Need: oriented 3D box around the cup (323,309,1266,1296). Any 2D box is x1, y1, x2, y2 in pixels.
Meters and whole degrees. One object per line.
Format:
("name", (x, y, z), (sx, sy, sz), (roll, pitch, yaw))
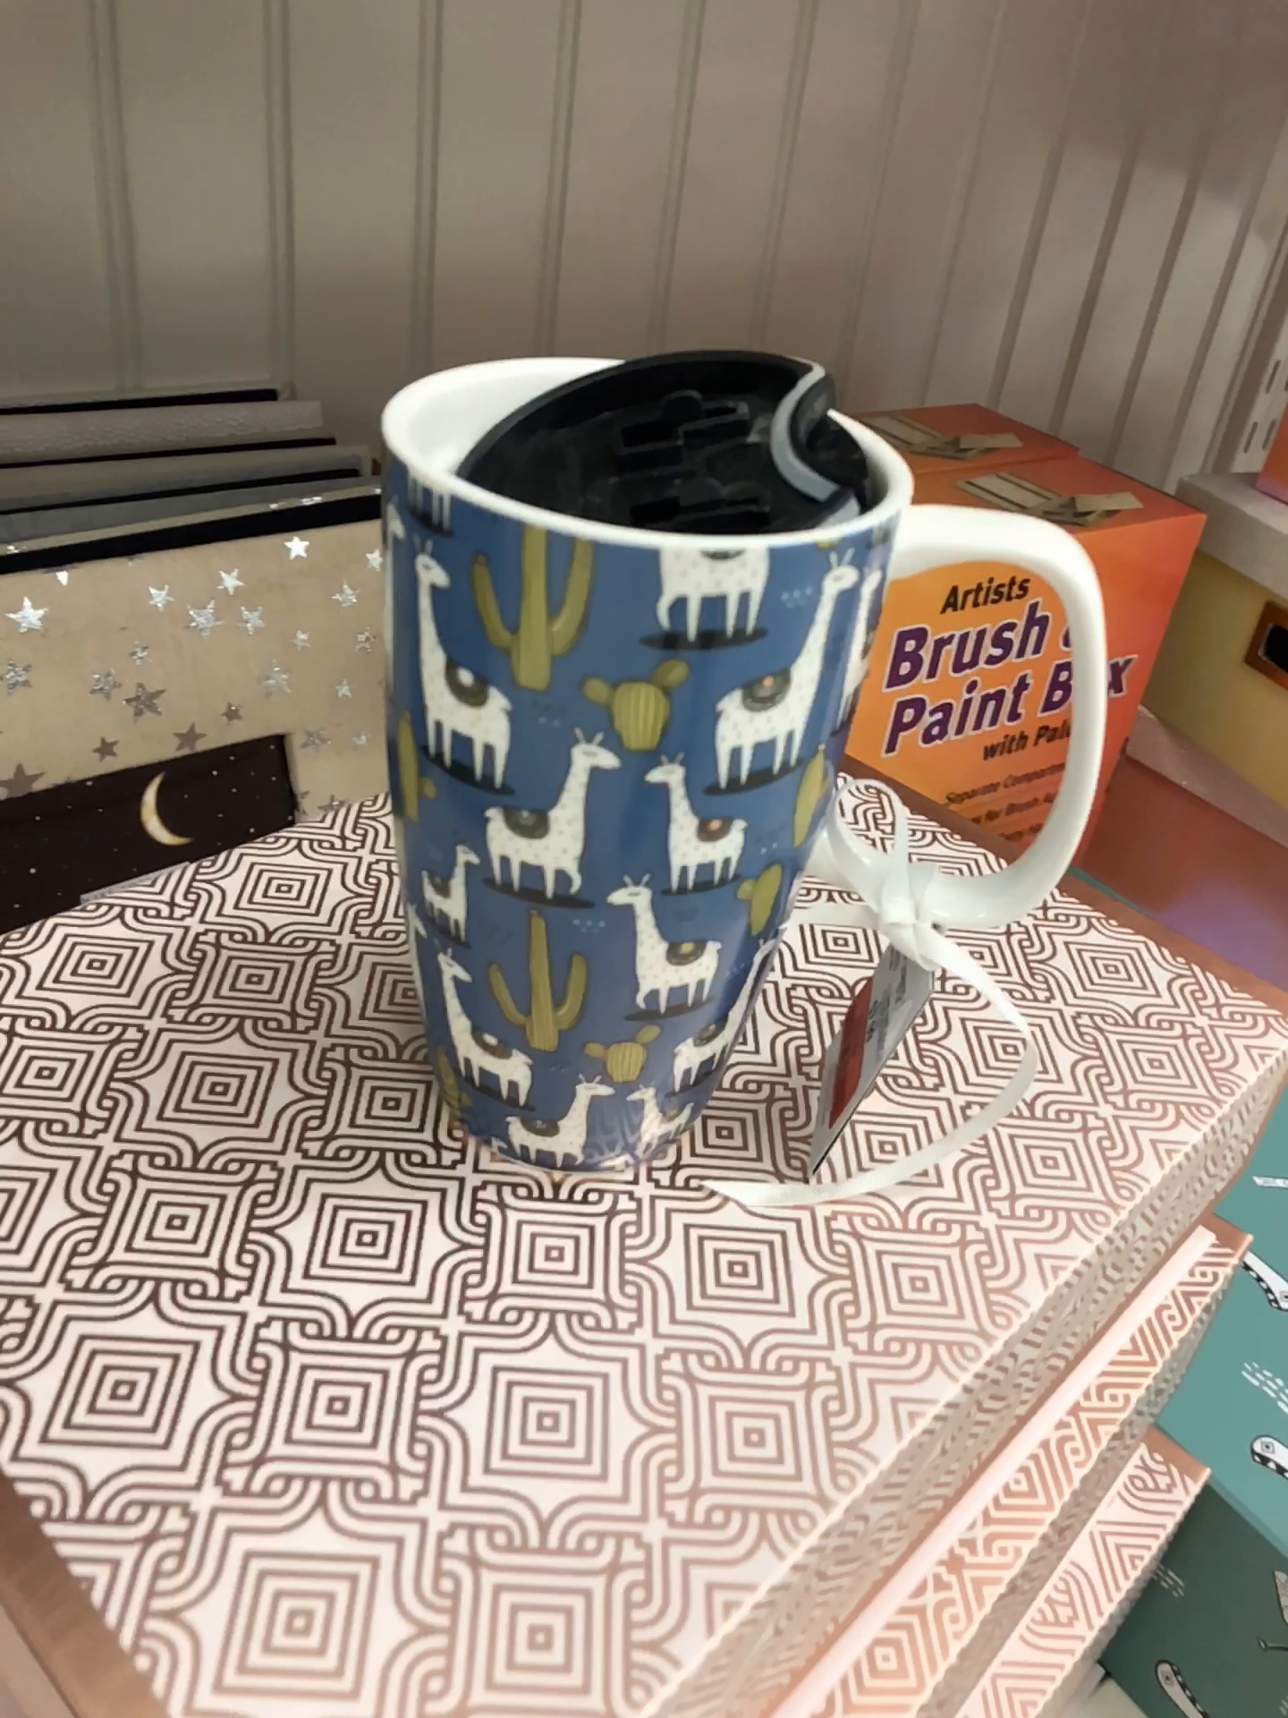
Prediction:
("cup", (0.017, -0.011, 0.262), (0.125, 0.138, 0.090), (9, 33, 2))
